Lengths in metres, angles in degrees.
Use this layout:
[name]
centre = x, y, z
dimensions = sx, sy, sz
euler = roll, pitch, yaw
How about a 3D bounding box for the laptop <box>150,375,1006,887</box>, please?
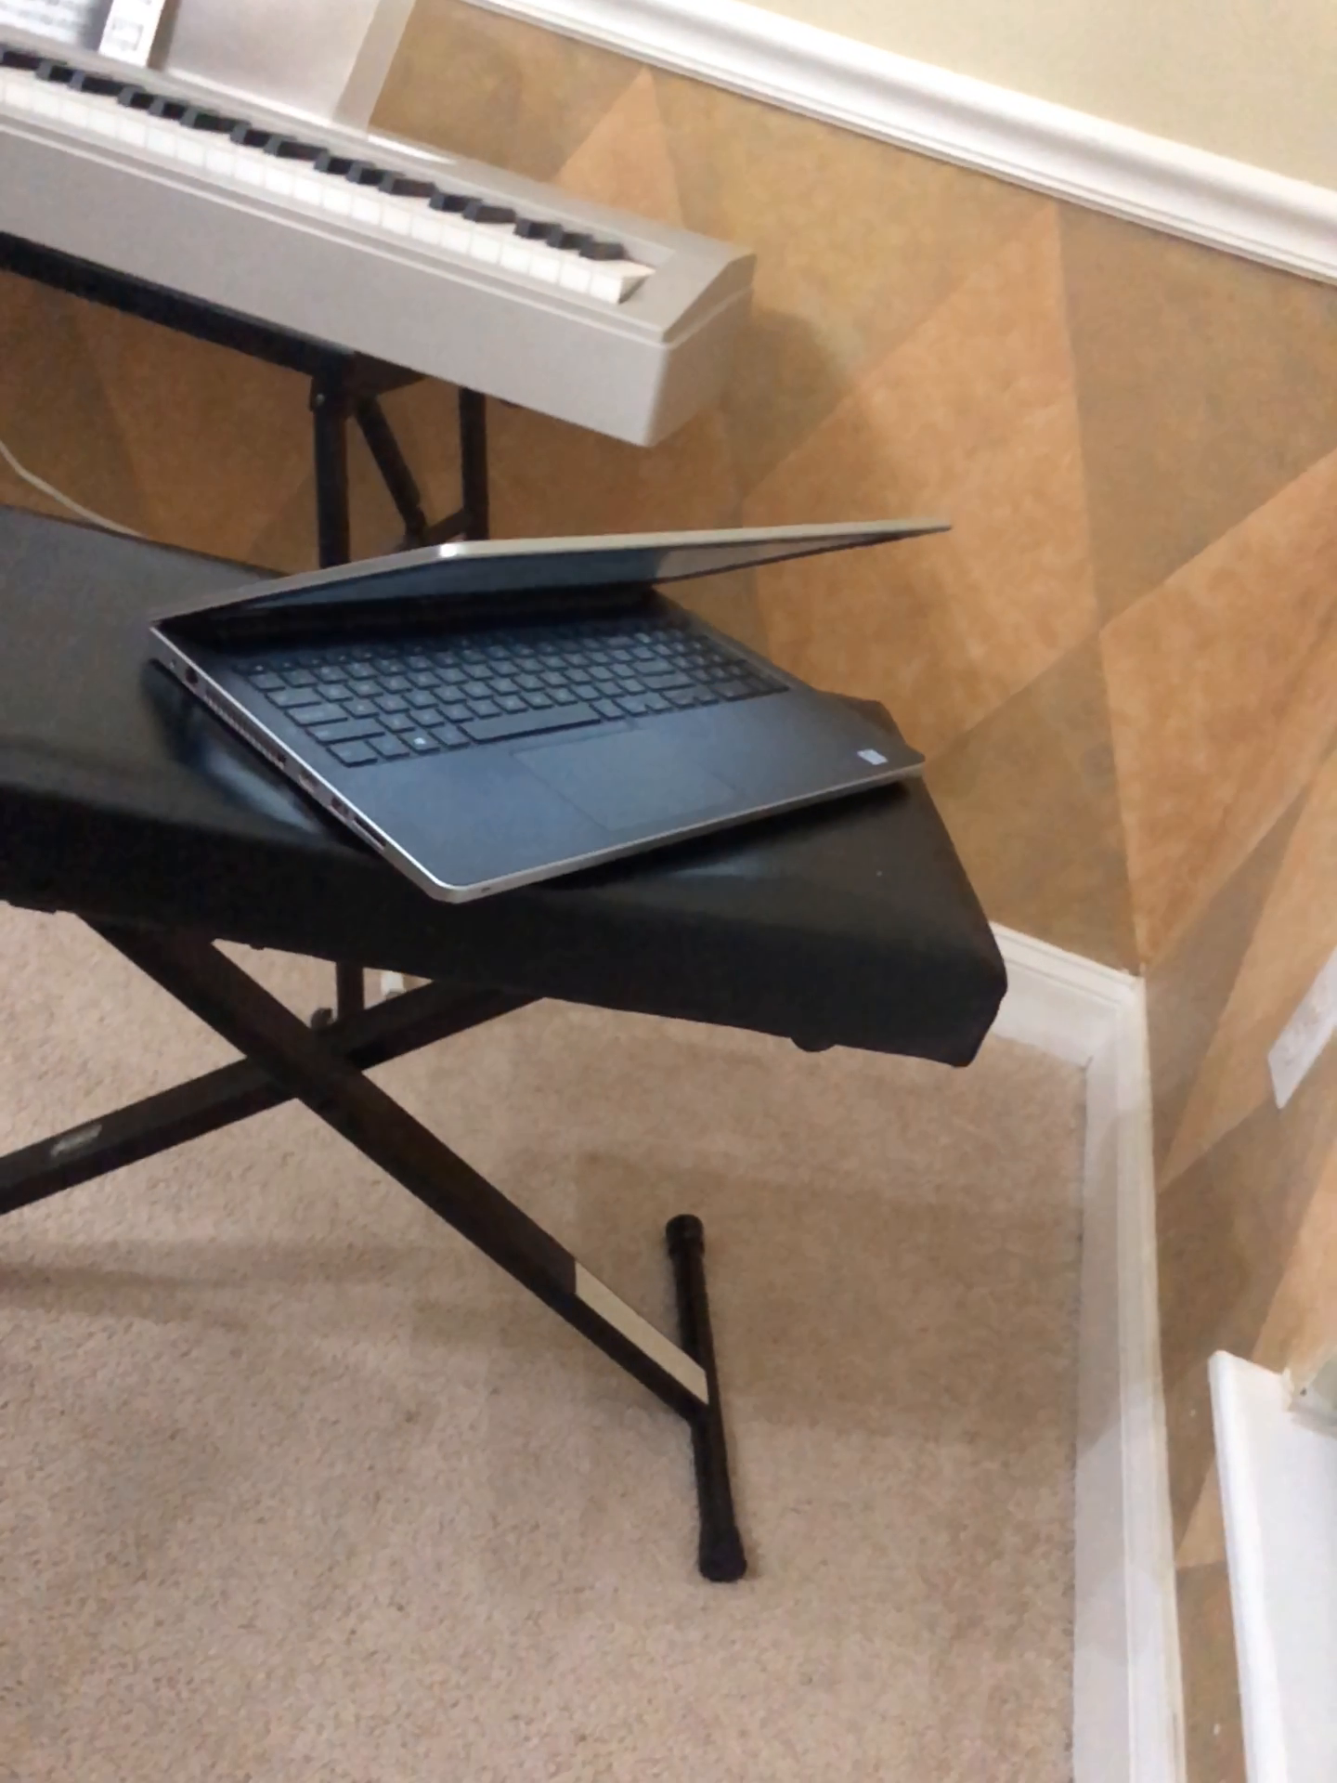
[laptop]
centre = -0.041, -0.167, 0.825
dimensions = 0.262, 0.136, 0.376
euler = 38, 36, 30
